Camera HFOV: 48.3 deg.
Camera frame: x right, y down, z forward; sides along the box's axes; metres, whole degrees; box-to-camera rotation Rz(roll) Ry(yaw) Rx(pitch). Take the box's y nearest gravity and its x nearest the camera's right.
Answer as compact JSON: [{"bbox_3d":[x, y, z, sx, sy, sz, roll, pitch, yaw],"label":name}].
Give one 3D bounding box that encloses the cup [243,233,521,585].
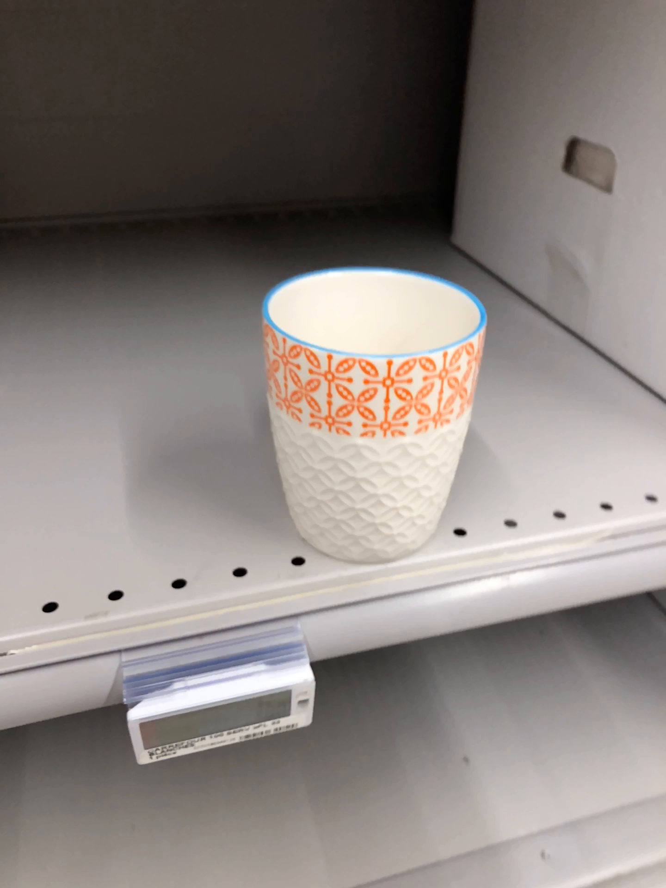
[{"bbox_3d":[0.026,-0.023,0.322,0.091,0.095,0.118,9,34,11],"label":"cup"}]
